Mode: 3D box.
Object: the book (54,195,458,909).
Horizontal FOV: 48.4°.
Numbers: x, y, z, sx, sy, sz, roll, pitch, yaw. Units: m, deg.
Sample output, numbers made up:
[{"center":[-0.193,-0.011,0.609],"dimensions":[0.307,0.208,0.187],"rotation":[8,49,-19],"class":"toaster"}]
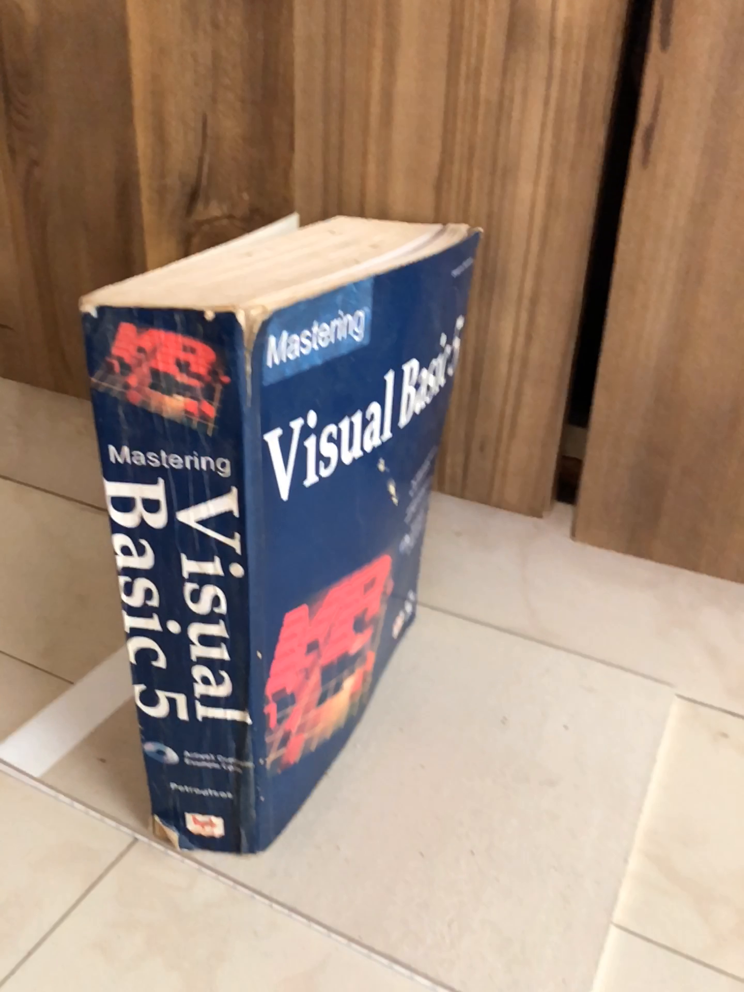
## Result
[{"center":[-0.026,0.007,0.379],"dimensions":[0.060,0.249,0.211],"rotation":[10,28,20],"class":"book"}]
